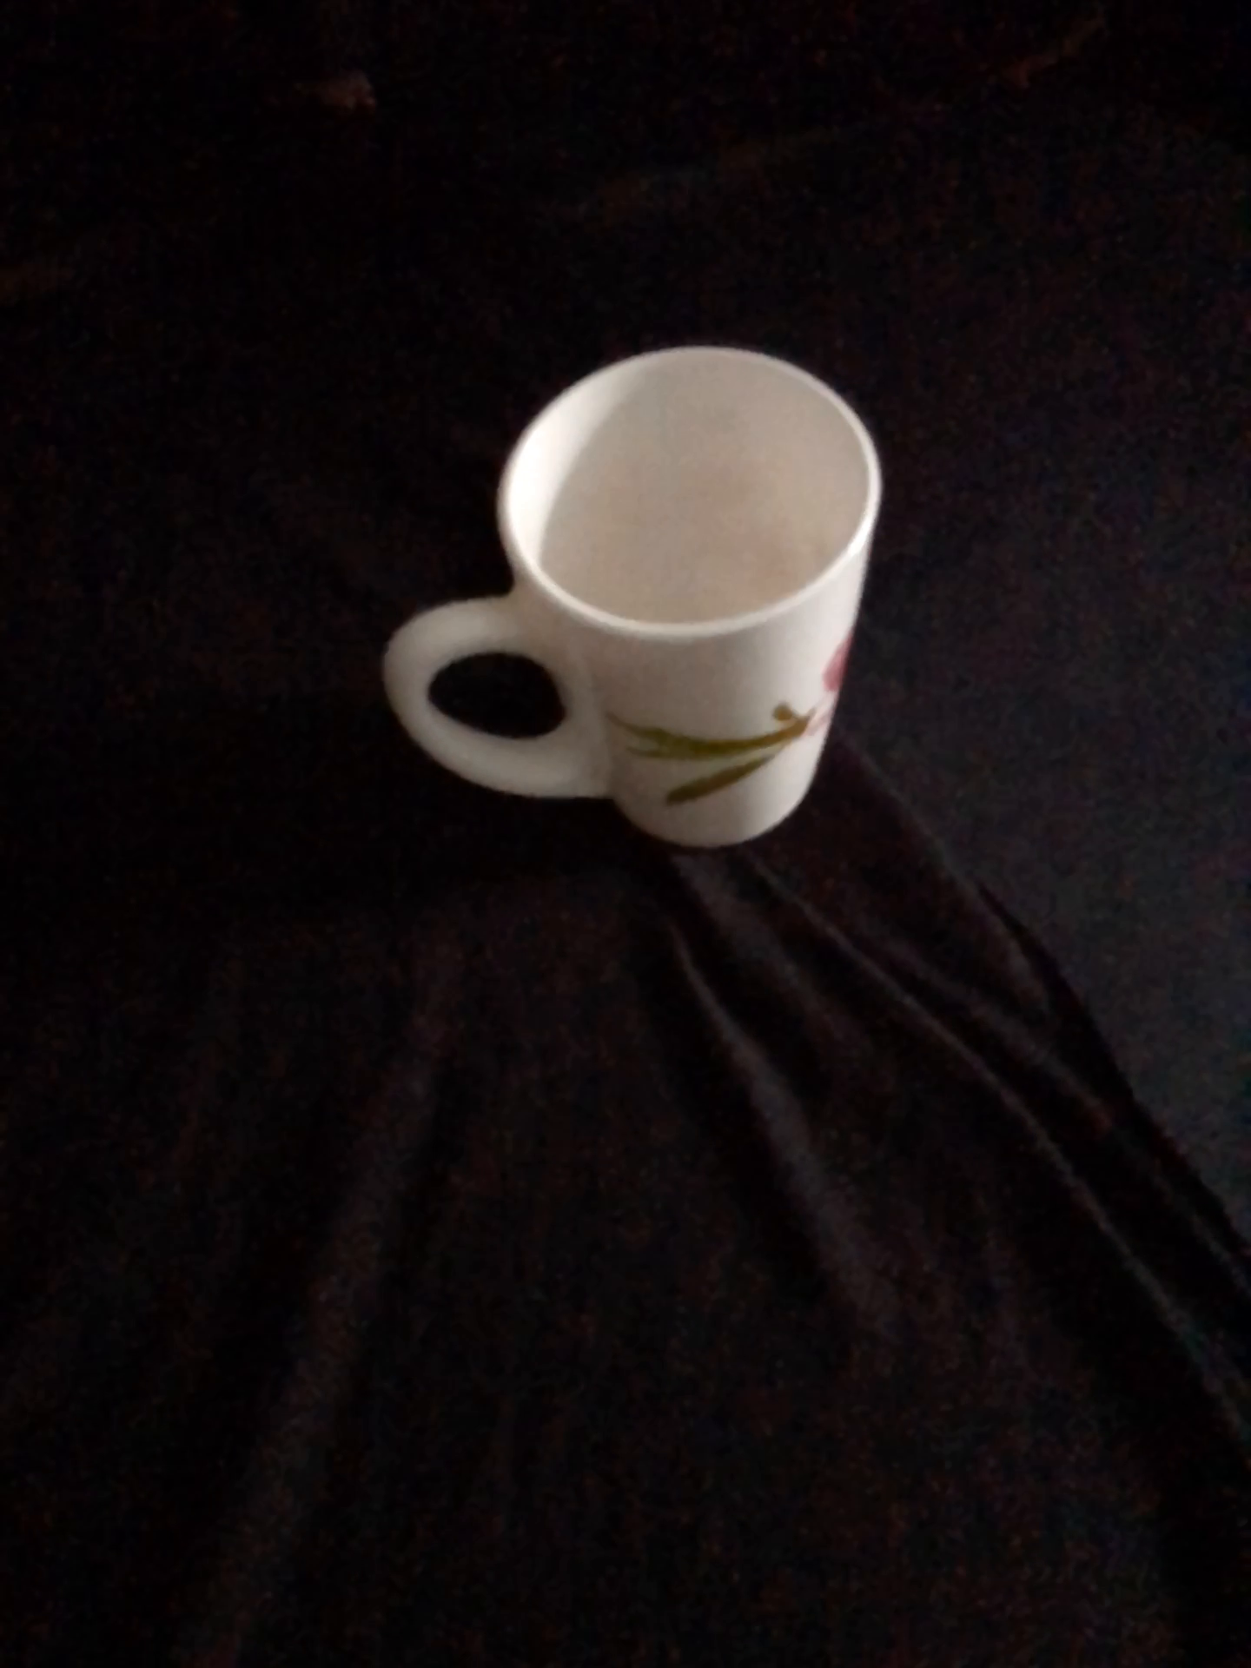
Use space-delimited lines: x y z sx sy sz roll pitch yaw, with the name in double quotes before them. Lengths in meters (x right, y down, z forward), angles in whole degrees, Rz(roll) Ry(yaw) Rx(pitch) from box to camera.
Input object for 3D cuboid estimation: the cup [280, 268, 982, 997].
"cup" -0.001 -0.046 0.353 0.125 0.130 0.090 -24 64 -14
